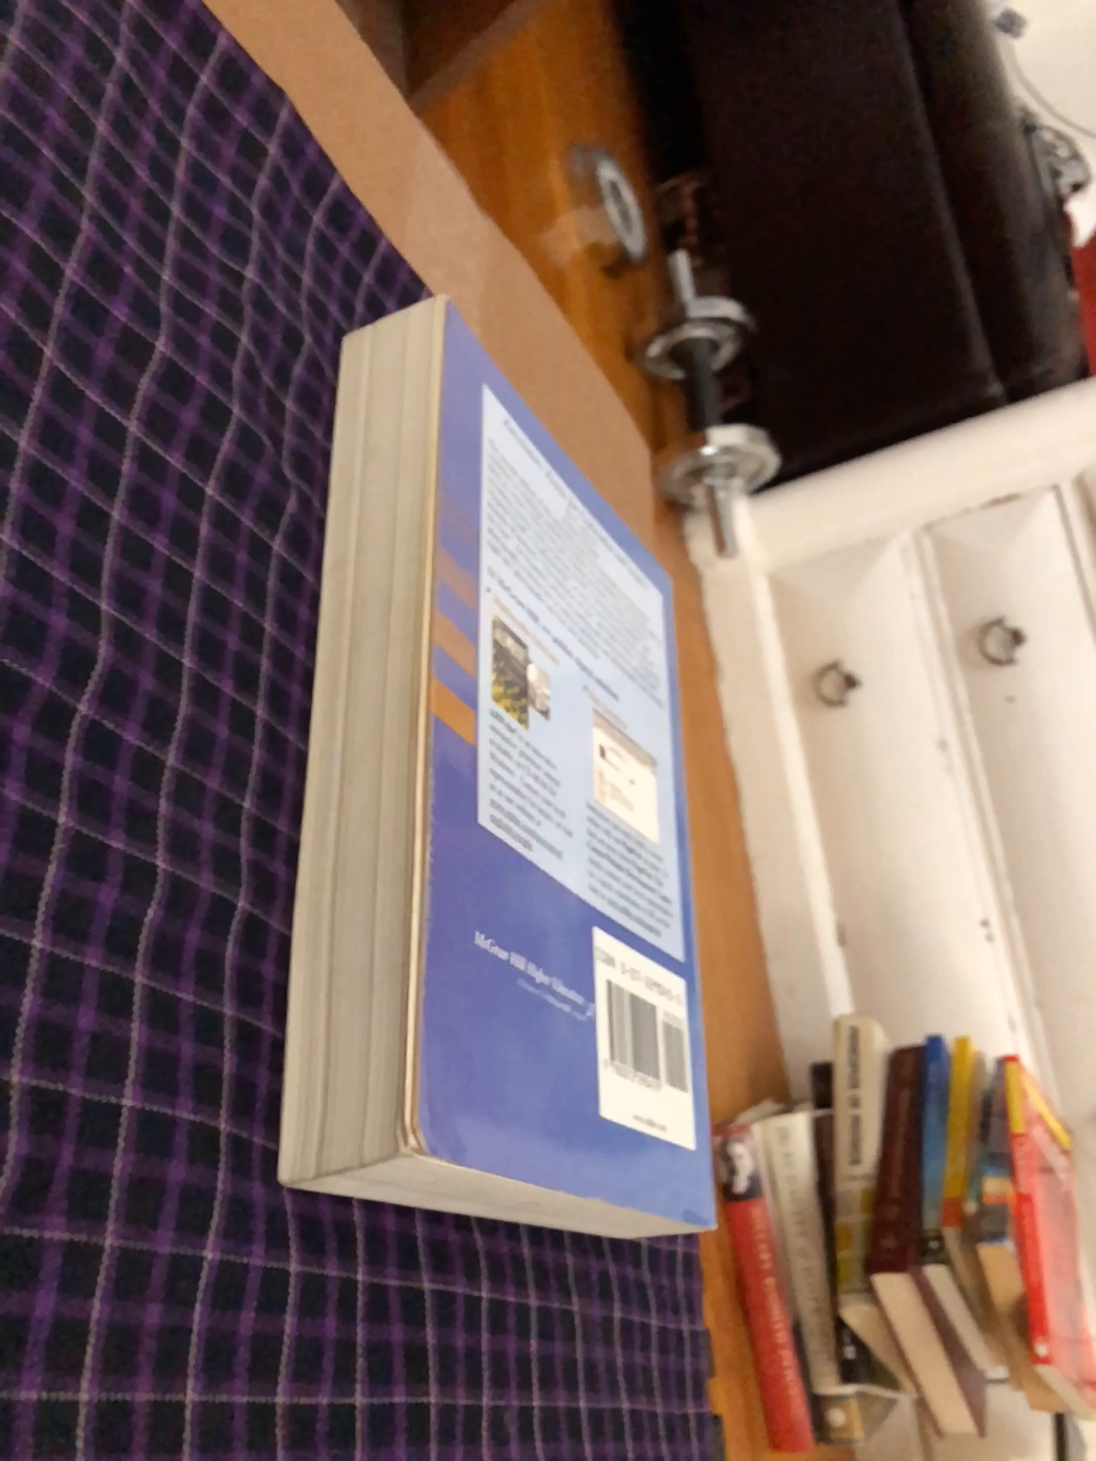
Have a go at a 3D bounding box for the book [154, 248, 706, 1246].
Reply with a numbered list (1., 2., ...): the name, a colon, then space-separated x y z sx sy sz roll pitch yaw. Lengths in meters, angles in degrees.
1. book: -0.019 0.015 0.357 0.181 0.040 0.240 38 43 -51
